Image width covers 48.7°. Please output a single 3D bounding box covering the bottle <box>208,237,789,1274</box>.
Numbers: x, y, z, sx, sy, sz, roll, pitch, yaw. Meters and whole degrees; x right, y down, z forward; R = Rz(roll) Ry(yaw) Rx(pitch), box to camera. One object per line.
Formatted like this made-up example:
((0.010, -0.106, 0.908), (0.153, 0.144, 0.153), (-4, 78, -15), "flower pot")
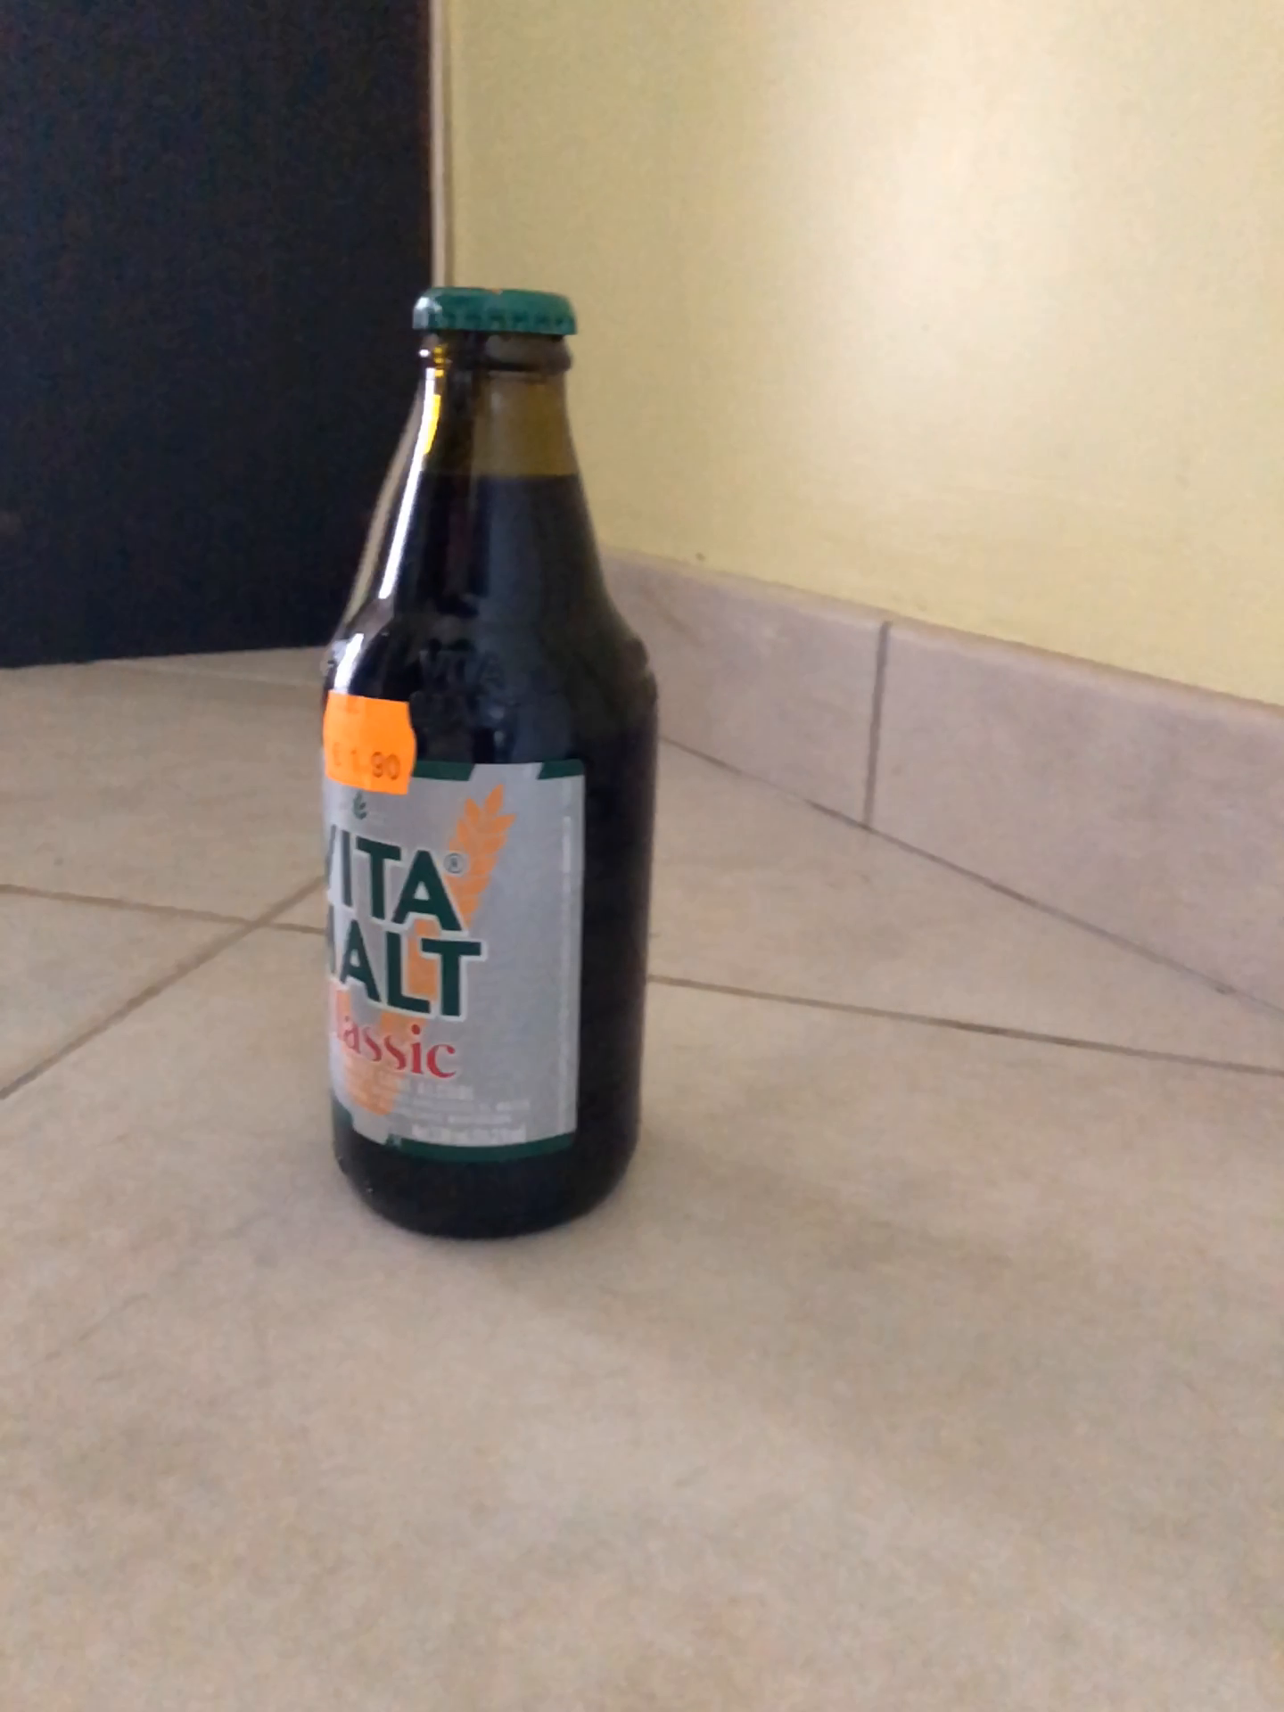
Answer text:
((-0.027, -0.023, 0.271), (0.070, 0.169, 0.070), (2, 19, -1), "bottle")
